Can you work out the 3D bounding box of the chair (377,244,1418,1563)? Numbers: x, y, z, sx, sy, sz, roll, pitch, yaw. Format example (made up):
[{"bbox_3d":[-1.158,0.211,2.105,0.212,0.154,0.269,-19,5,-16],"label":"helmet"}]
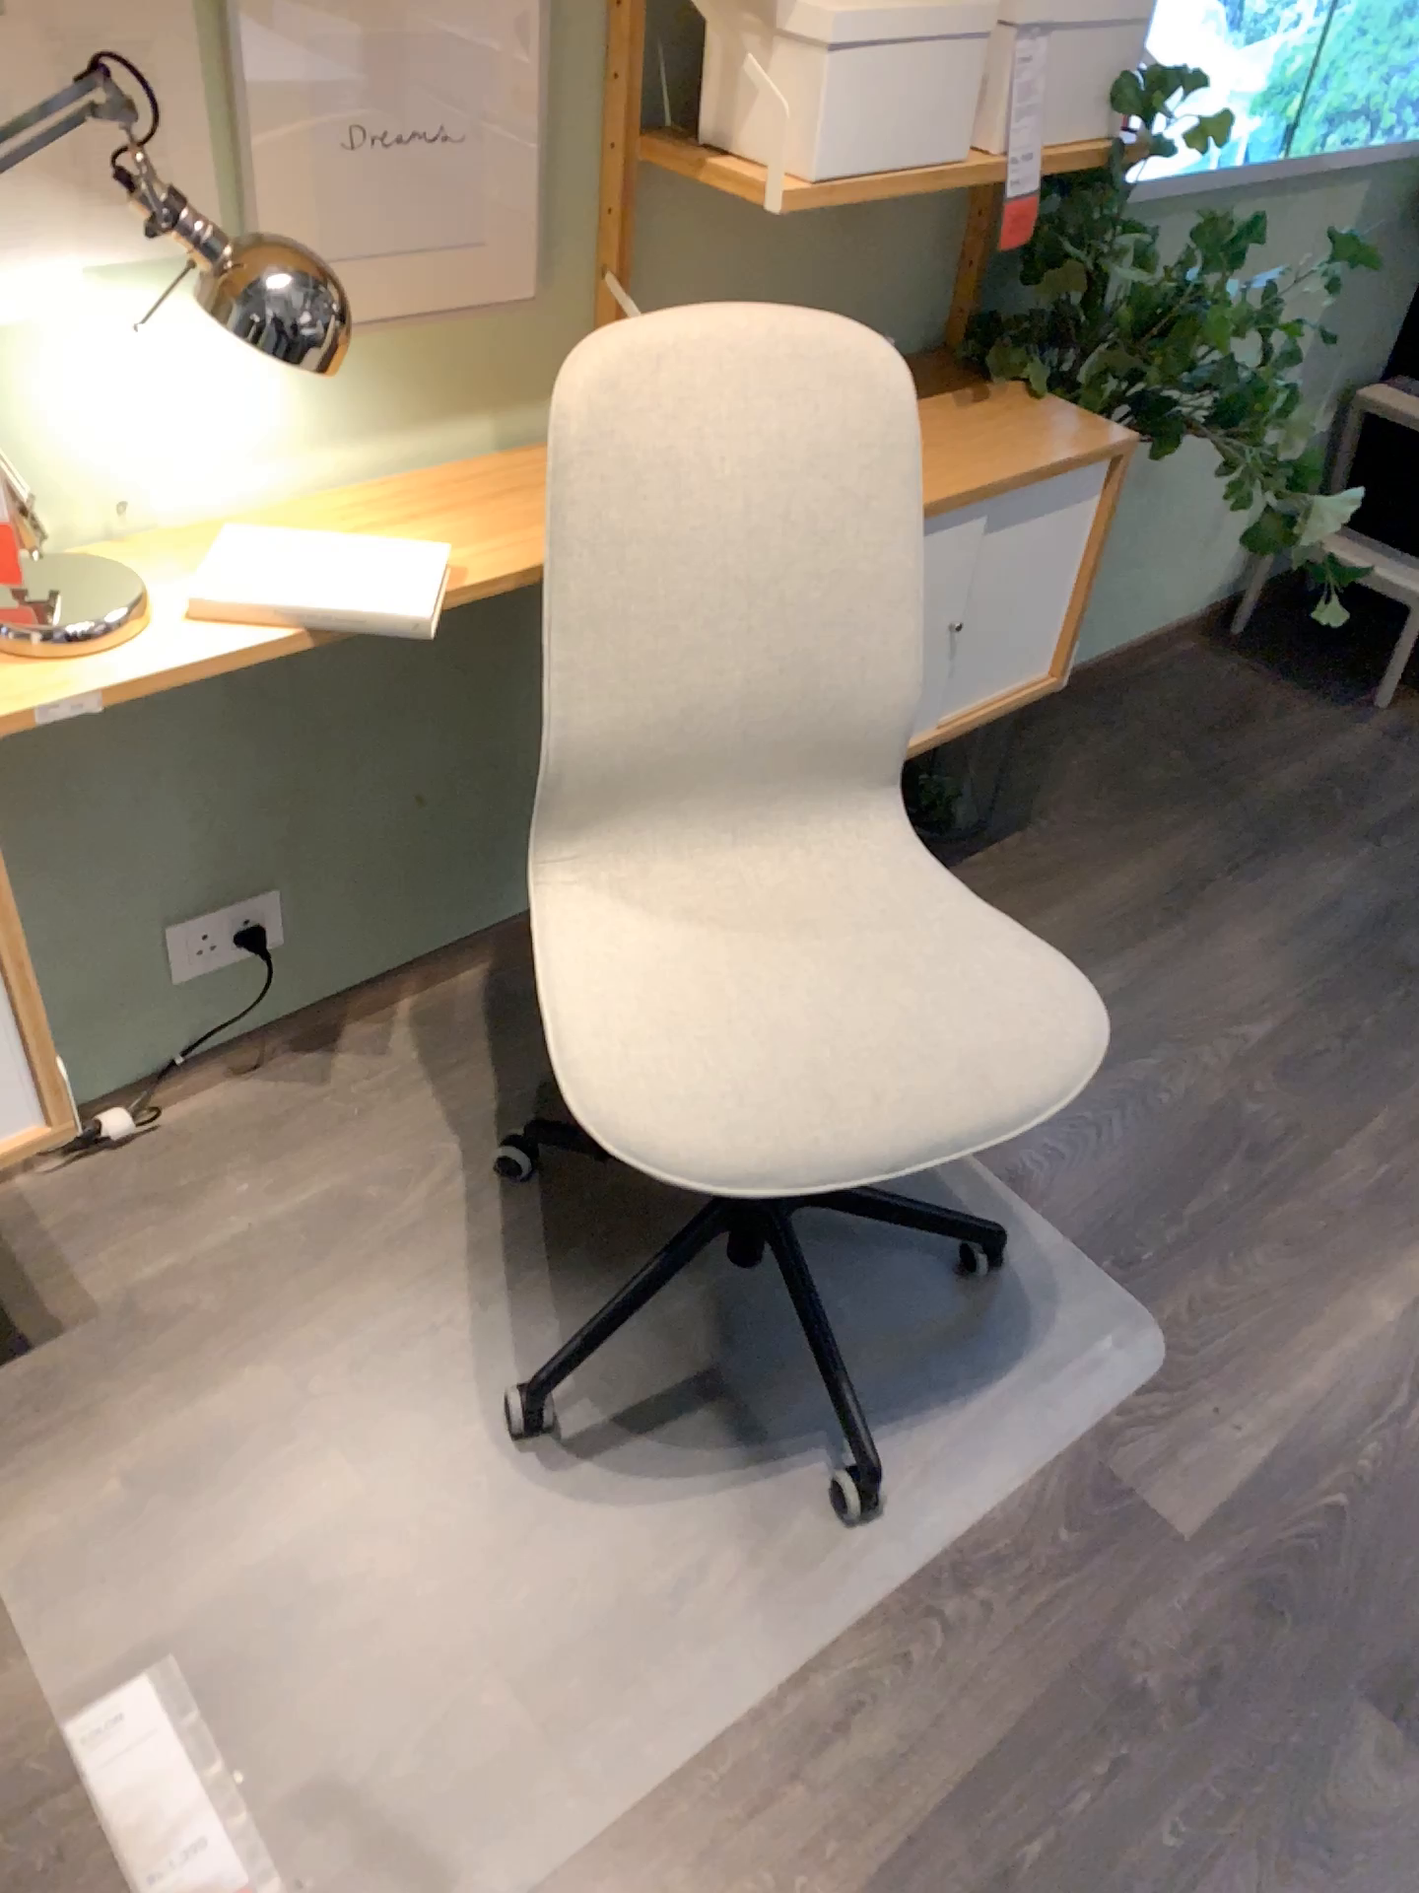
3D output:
[{"bbox_3d":[0.075,-0.033,1.332,0.620,0.966,0.622,-9,44,-20],"label":"chair"}]
